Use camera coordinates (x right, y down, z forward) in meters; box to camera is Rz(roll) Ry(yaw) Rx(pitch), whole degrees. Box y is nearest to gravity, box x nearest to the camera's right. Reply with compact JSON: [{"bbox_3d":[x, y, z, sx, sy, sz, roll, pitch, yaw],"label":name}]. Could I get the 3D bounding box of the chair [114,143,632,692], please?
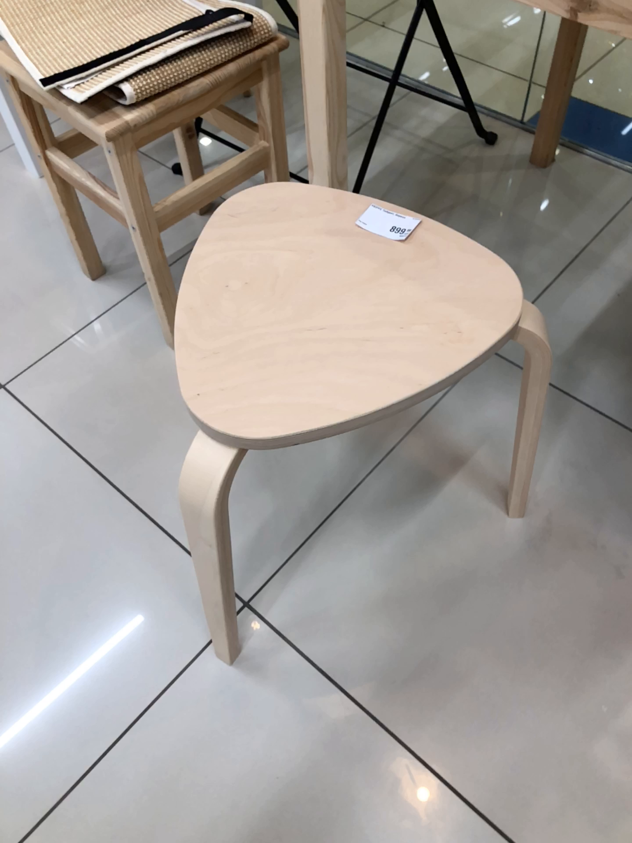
[{"bbox_3d":[0.084,0.007,0.867,0.430,0.467,0.493,2,55,5],"label":"chair"}]
